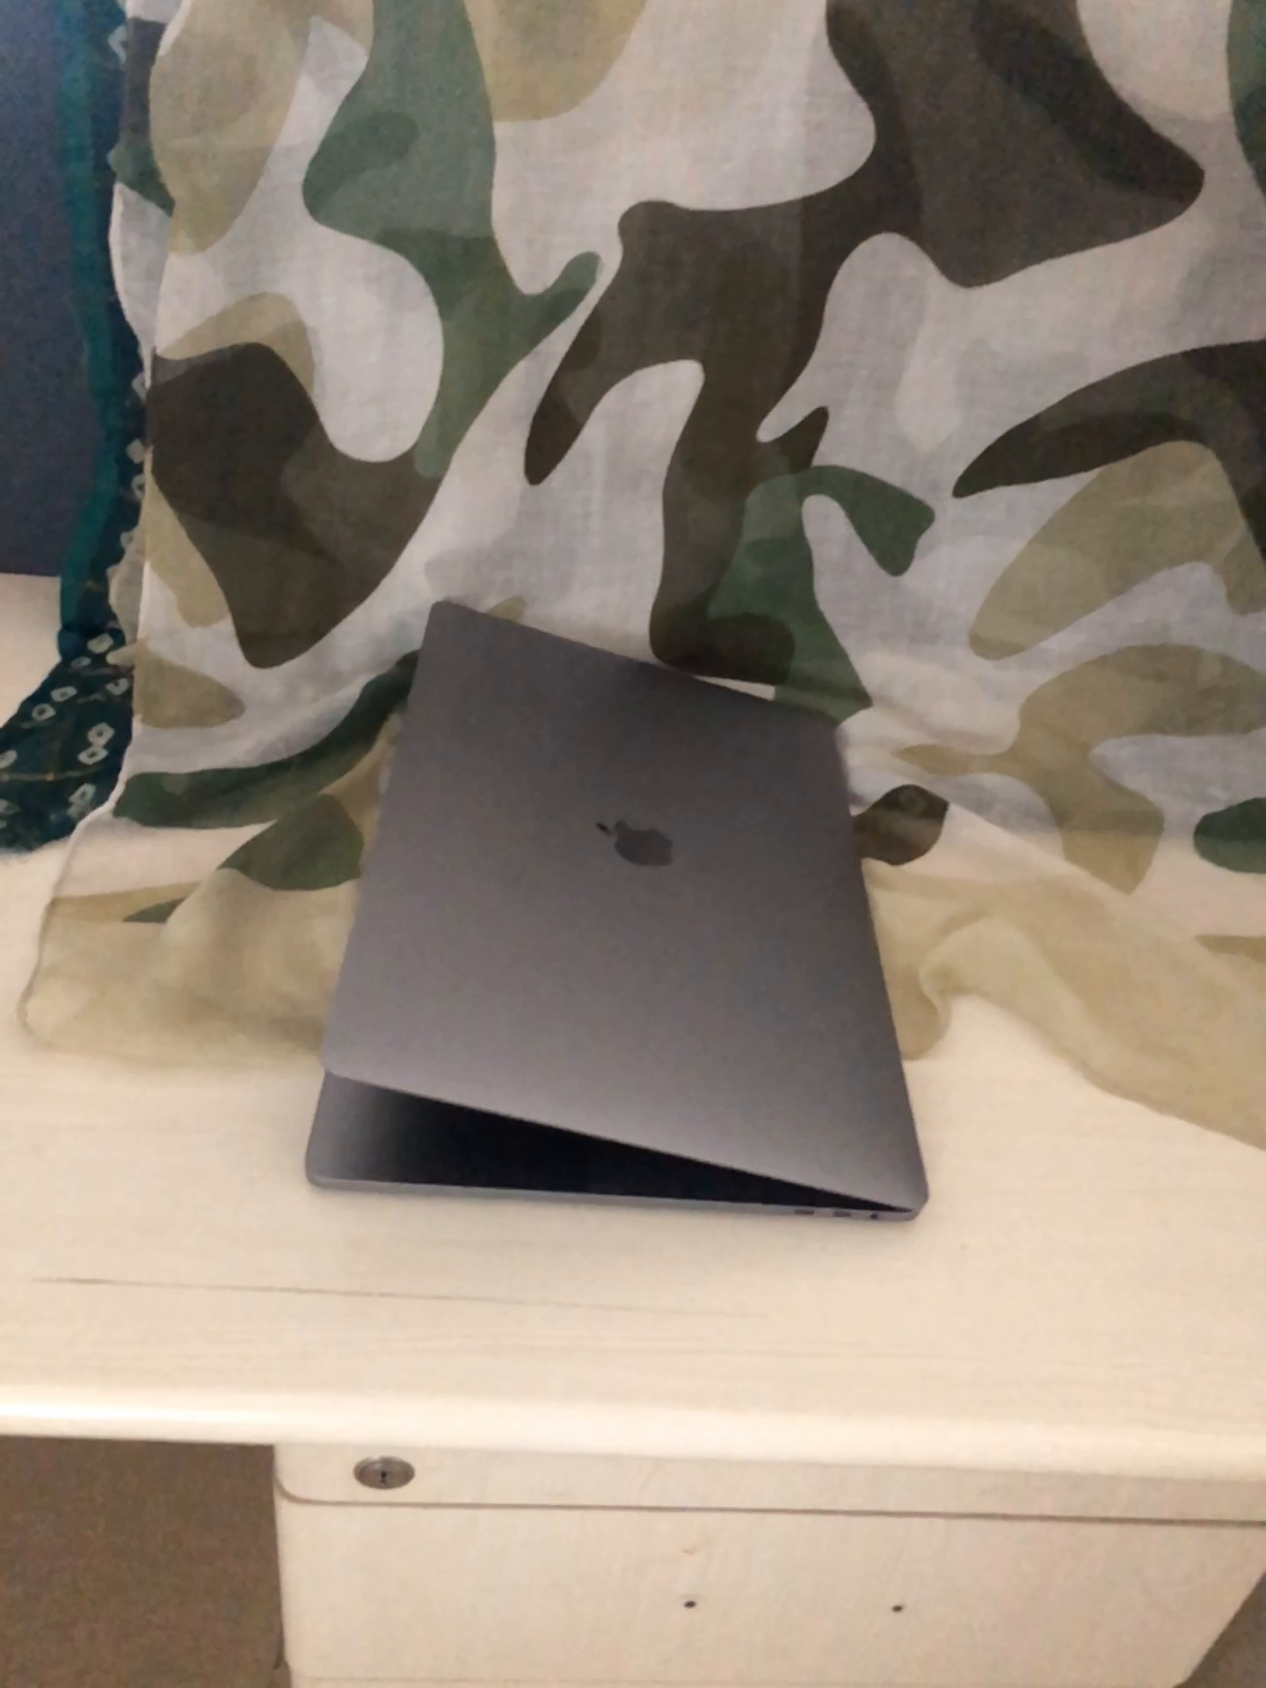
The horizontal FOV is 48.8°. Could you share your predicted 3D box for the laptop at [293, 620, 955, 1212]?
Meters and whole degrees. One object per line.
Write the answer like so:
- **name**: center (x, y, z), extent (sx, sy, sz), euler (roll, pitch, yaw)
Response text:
- **laptop**: center (-0.002, 0.009, 0.650), extent (0.236, 0.058, 0.340), euler (4, 36, -2)
